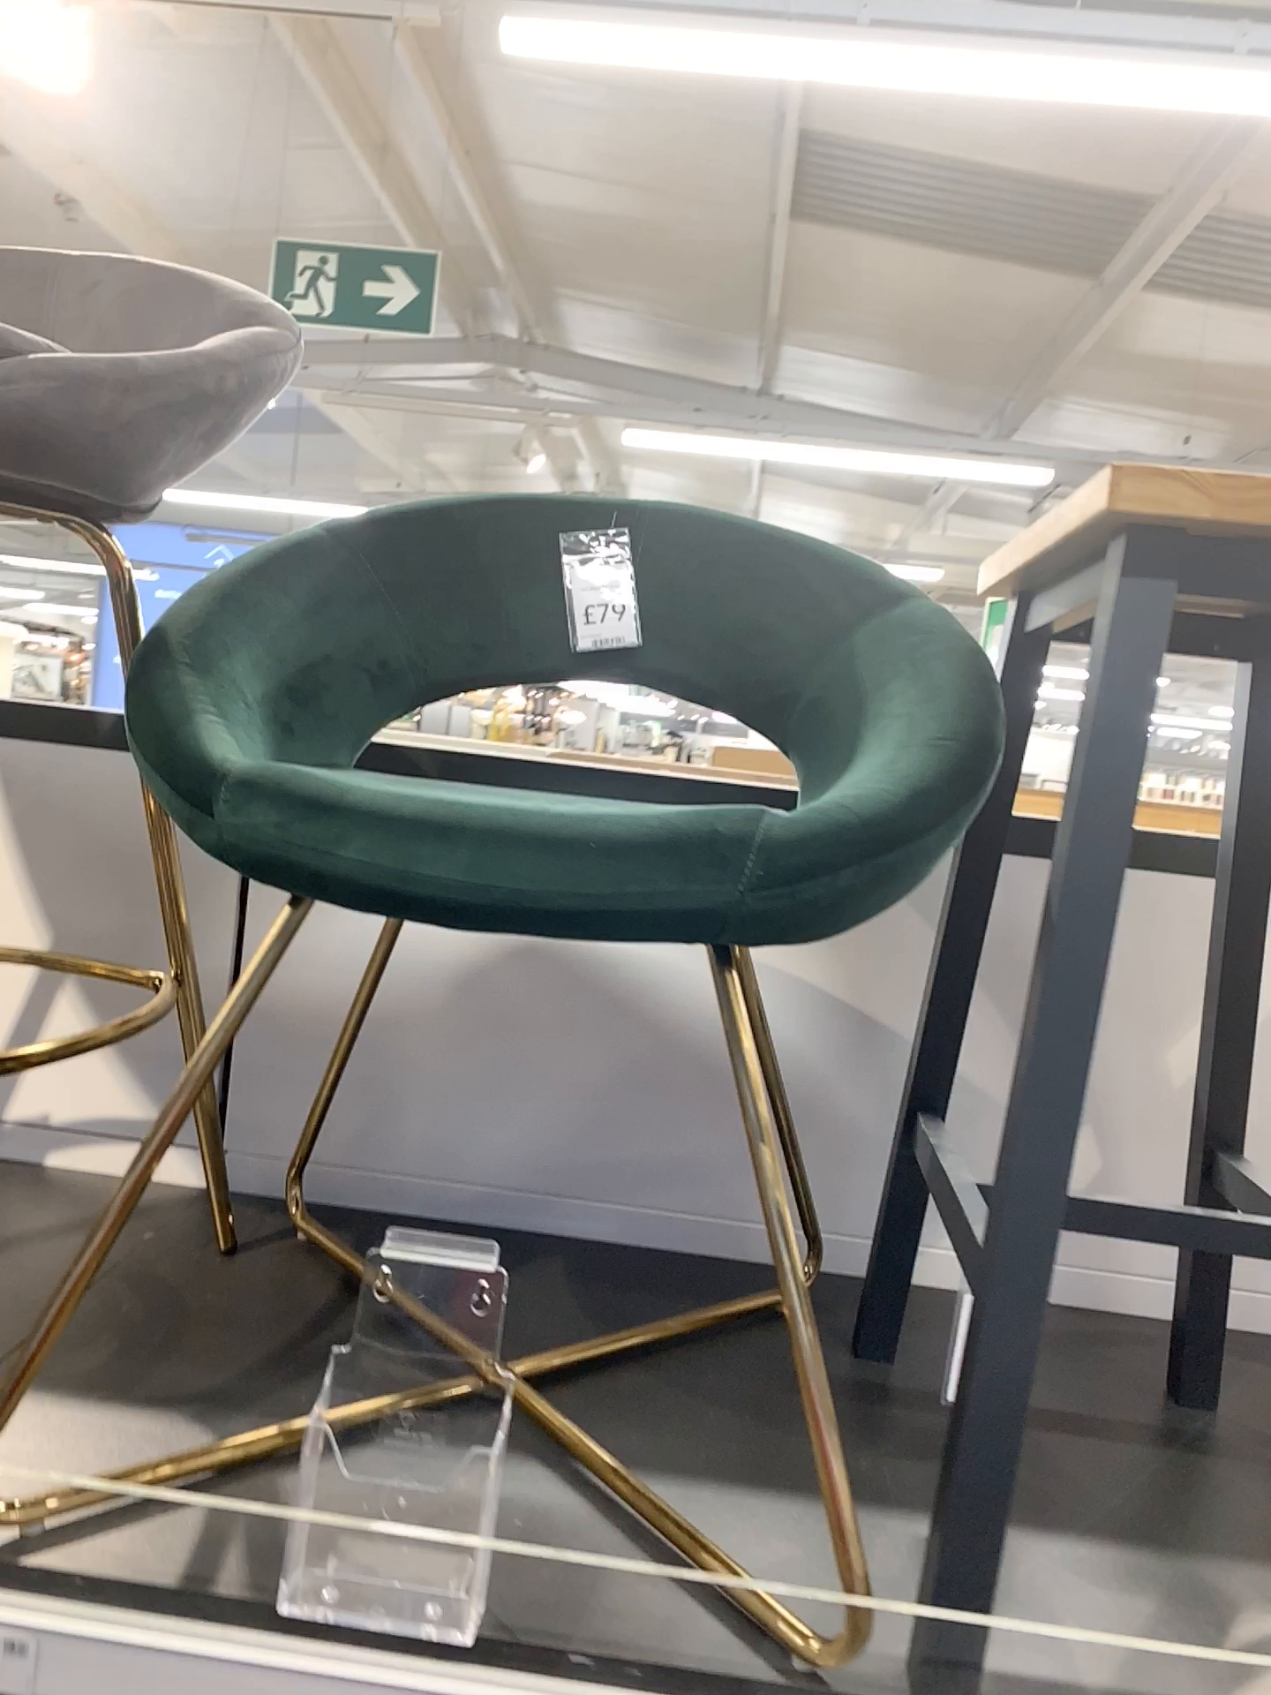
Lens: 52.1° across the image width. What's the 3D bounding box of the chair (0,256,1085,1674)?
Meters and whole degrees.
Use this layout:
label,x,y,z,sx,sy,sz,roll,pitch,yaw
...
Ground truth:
label,x,y,z,sx,sy,sz,roll,pitch,yaw
chair,-0.086,0.053,1.049,0.629,0.776,0.555,7,3,3
